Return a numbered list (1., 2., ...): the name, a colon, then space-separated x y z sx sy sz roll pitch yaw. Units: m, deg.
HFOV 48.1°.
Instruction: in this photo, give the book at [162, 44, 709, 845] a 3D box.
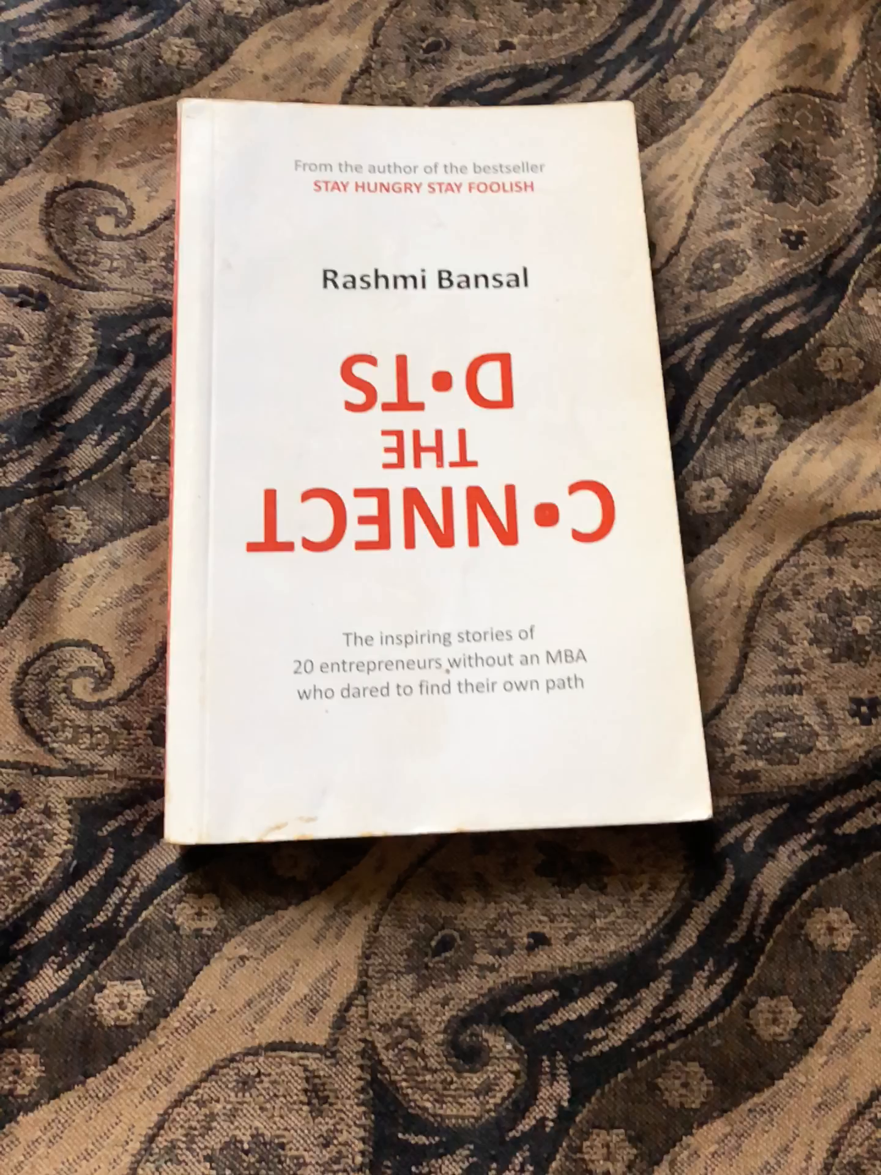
1. book: -0.006 -0.044 0.280 0.130 0.040 0.220 -2 76 -1
